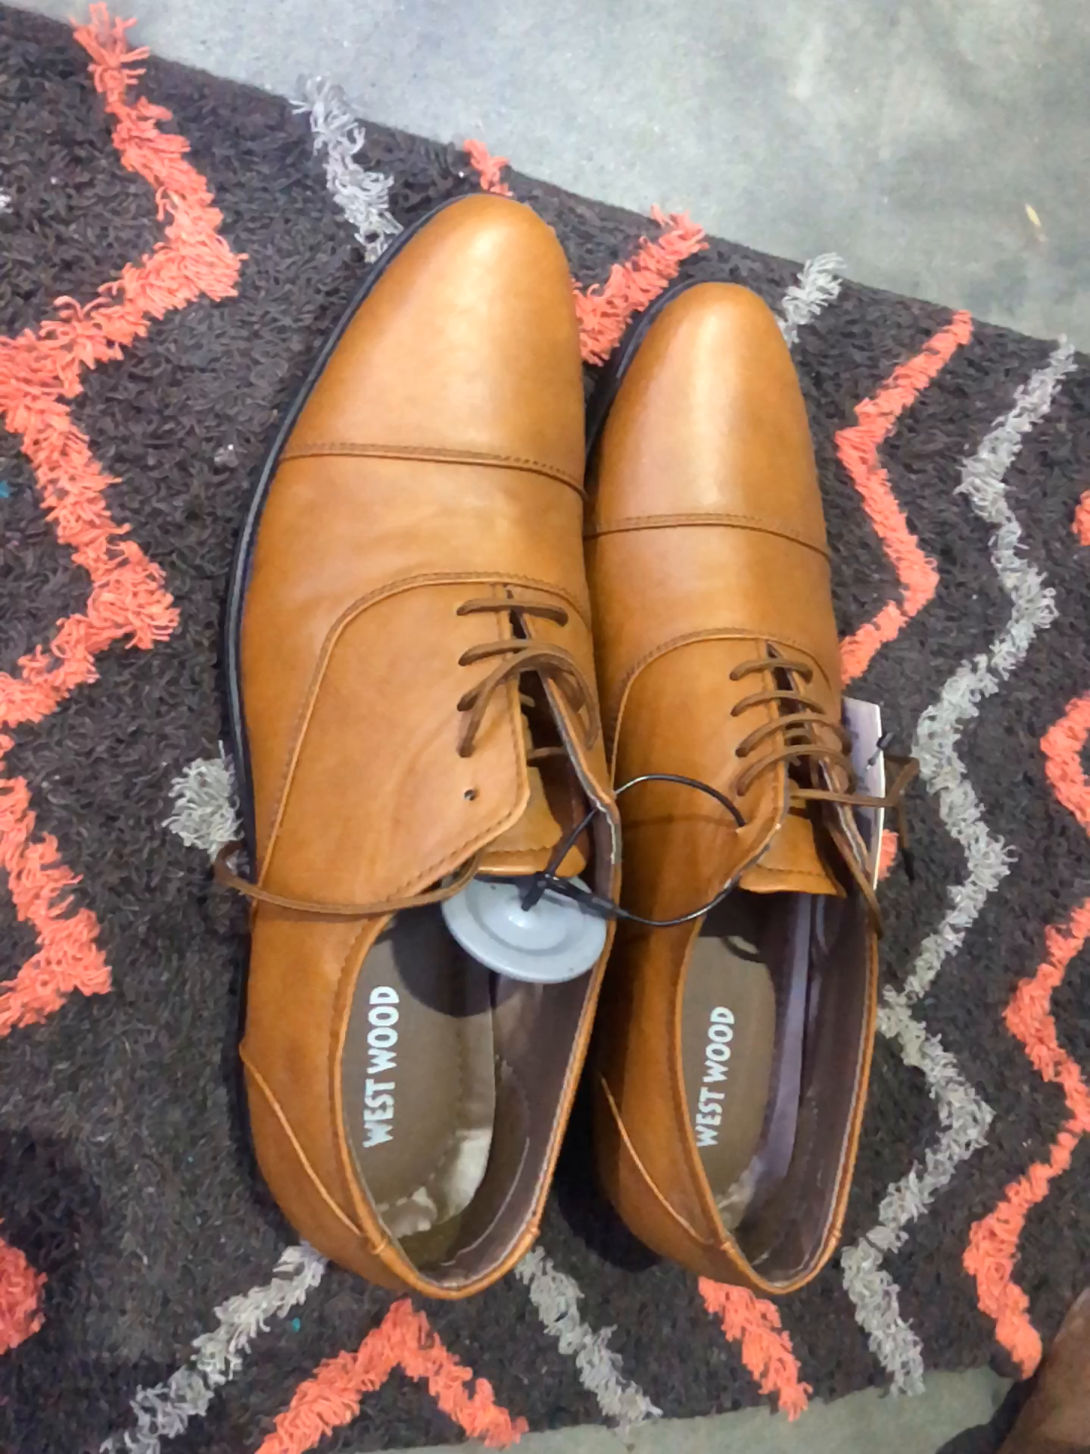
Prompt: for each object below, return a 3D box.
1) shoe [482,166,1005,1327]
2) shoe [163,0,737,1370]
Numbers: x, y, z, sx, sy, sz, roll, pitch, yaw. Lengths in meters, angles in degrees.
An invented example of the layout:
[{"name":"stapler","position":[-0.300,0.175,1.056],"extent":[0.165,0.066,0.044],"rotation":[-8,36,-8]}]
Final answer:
[{"name":"shoe","position":[0.058,0.007,0.370],"extent":[0.110,0.080,0.300],"rotation":[5,90,-24]},{"name":"shoe","position":[-0.027,-0.012,0.318],"extent":[0.110,0.070,0.310],"rotation":[5,90,-24]}]
